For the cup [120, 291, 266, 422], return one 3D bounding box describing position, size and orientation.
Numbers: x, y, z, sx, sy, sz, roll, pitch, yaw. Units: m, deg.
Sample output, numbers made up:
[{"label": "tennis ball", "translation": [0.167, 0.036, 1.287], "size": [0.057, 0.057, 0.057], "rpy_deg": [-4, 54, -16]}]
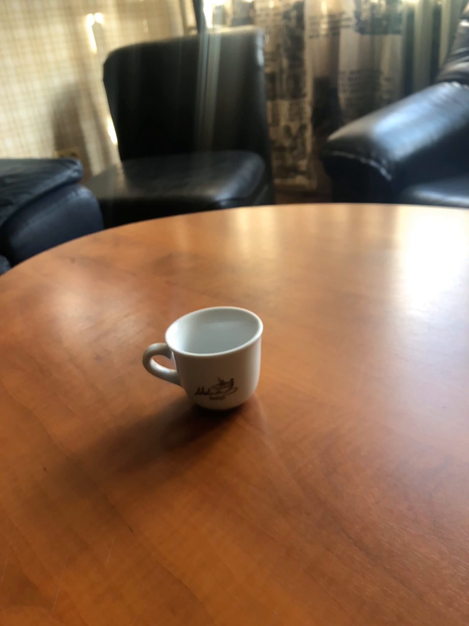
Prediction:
[{"label": "cup", "translation": [-0.026, 0.027, 0.351], "size": [0.083, 0.050, 0.065], "rpy_deg": [-8, 27, -1]}]
